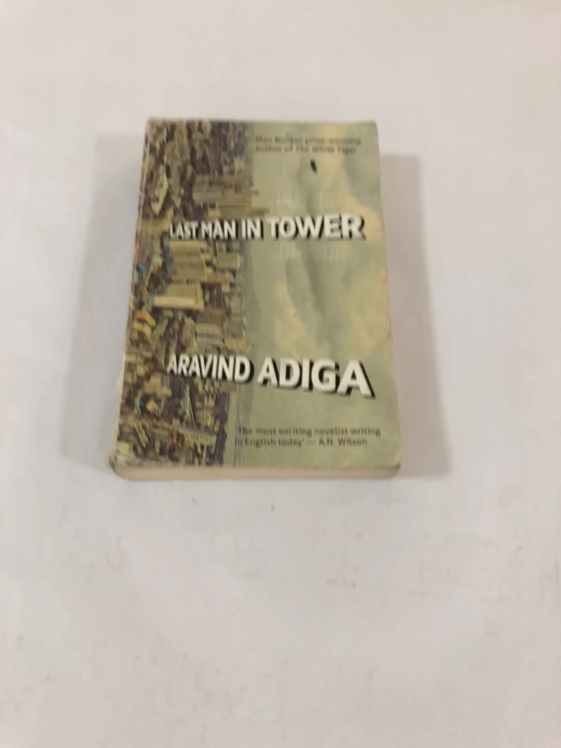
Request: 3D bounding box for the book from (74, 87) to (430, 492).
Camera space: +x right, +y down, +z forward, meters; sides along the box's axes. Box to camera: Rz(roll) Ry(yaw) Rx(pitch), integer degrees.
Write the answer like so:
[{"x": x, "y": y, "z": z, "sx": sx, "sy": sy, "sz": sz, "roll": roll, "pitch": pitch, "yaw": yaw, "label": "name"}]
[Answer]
[{"x": -0.013, "y": -0.053, "z": 0.324, "sx": 0.150, "sy": 0.030, "sz": 0.220, "roll": 0, "pitch": 67, "yaw": -2, "label": "book"}]
